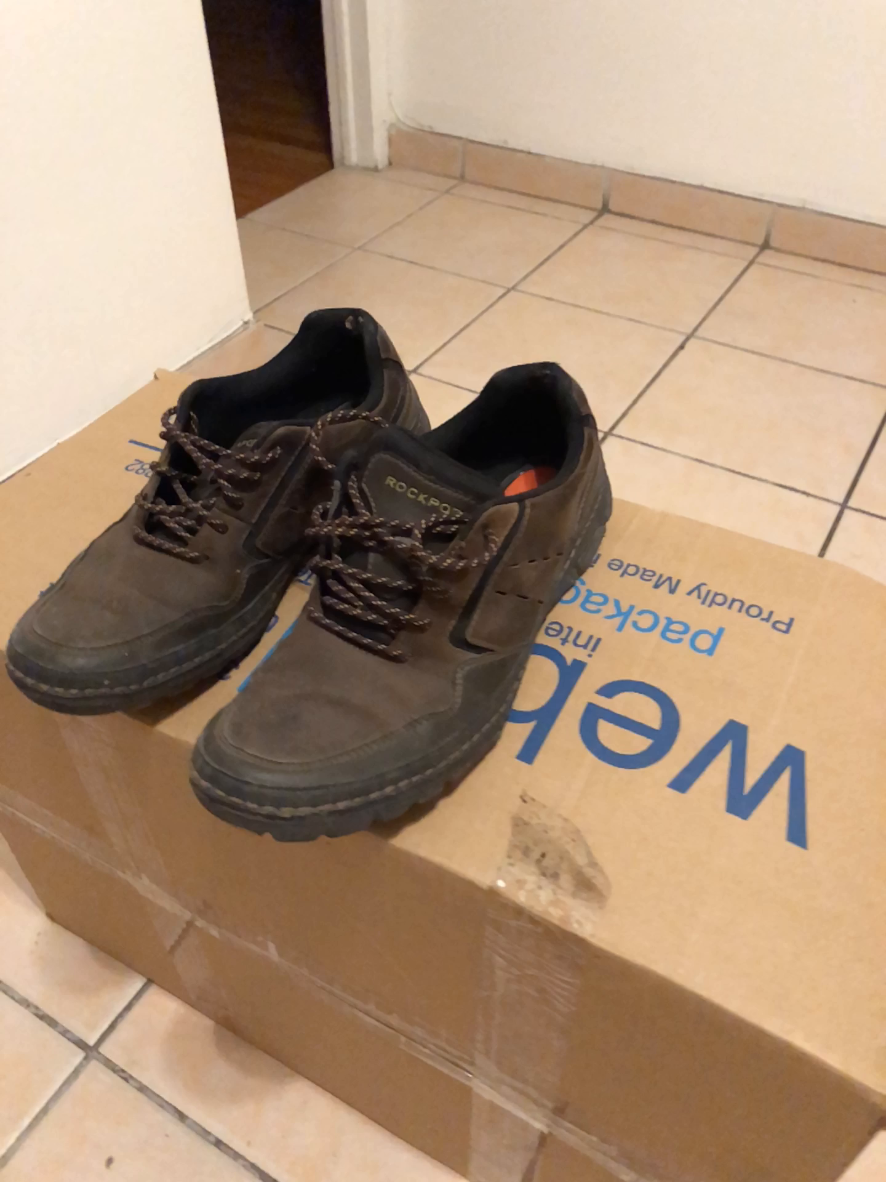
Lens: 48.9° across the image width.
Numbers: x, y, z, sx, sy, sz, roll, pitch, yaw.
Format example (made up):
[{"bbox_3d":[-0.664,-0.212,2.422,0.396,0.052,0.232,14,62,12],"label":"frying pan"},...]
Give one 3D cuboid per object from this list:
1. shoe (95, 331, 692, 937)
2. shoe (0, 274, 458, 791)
[{"bbox_3d":[-0.002,-0.003,0.467,0.110,0.109,0.292,25,48,25],"label":"shoe"},{"bbox_3d":[-0.117,-0.049,0.515,0.110,0.109,0.282,25,49,25],"label":"shoe"}]
